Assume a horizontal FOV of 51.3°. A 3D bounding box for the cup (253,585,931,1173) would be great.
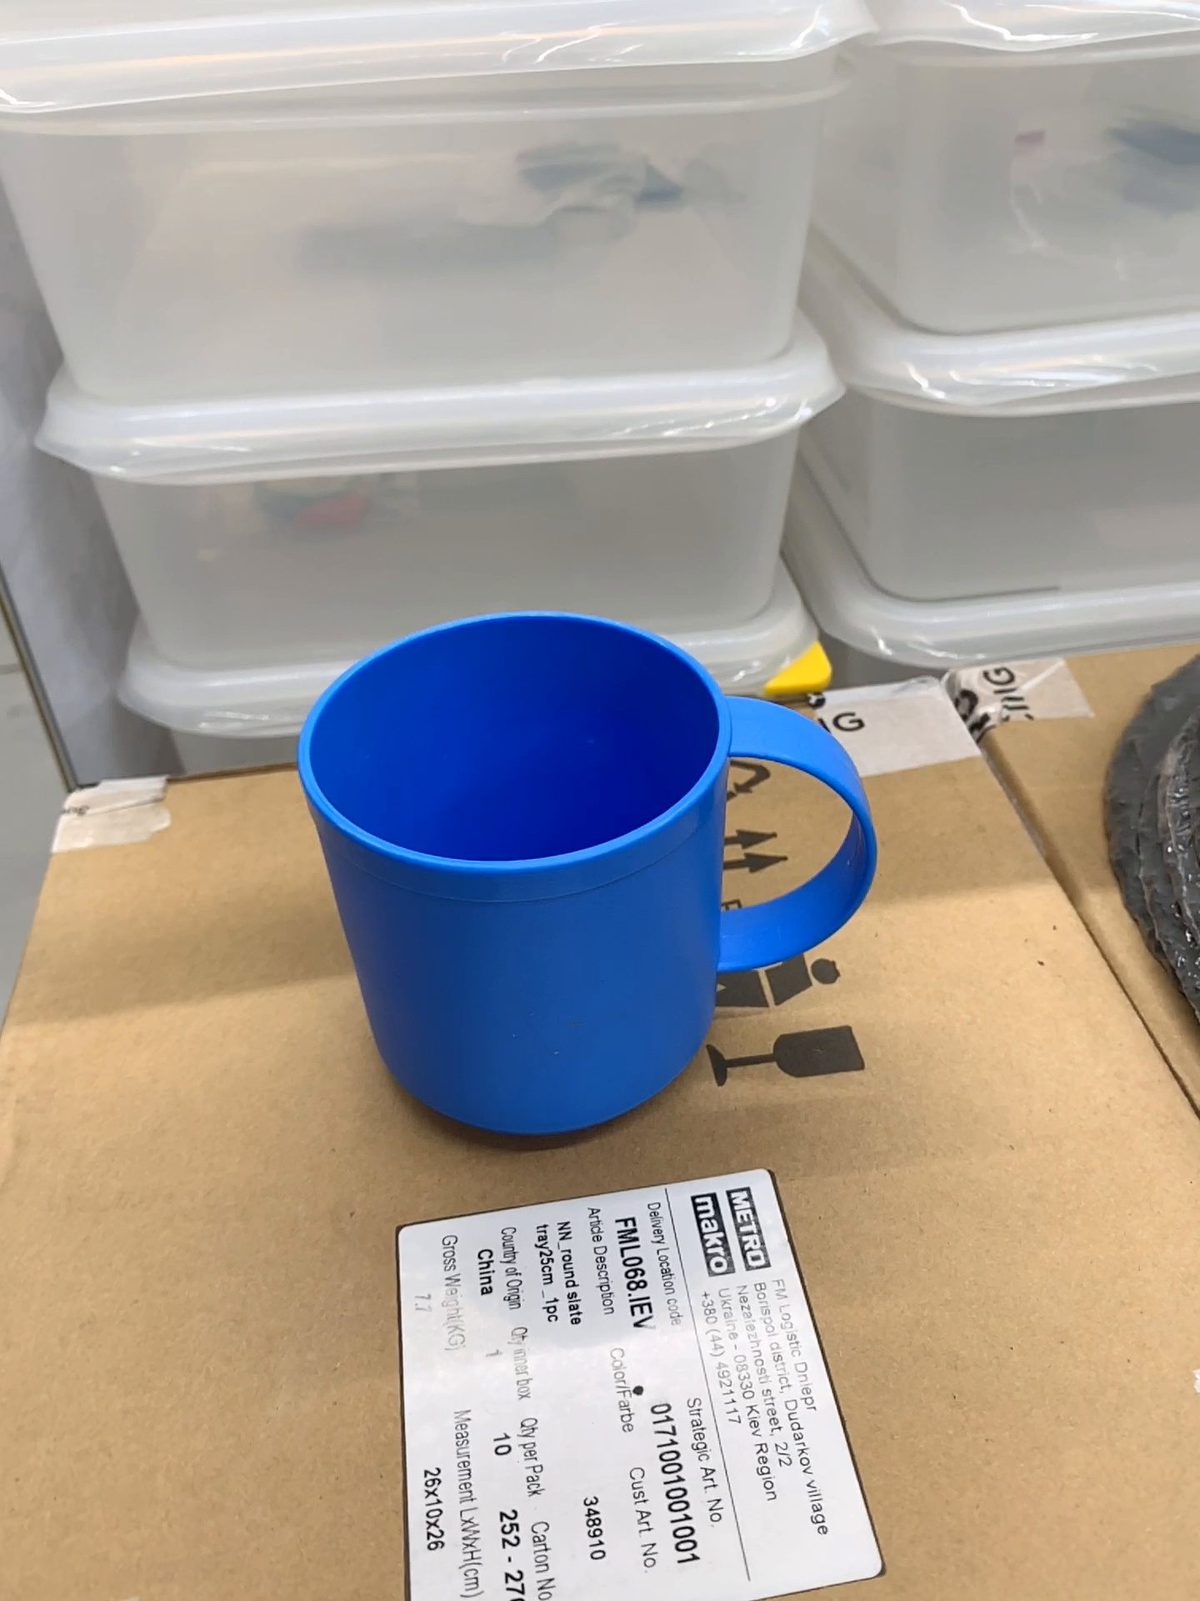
[{"bbox_3d":[-0.002,0.013,0.257,0.109,0.071,0.089,-5,39,-1],"label":"cup"}]
